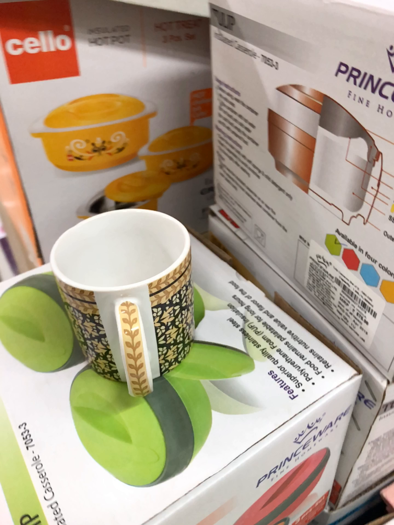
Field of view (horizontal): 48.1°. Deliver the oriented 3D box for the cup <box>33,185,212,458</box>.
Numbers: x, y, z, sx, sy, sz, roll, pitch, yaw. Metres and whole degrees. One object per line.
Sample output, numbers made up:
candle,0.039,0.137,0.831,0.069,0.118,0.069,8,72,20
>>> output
cup,-0.040,0.026,0.247,0.070,0.089,0.111,-9,37,-9
